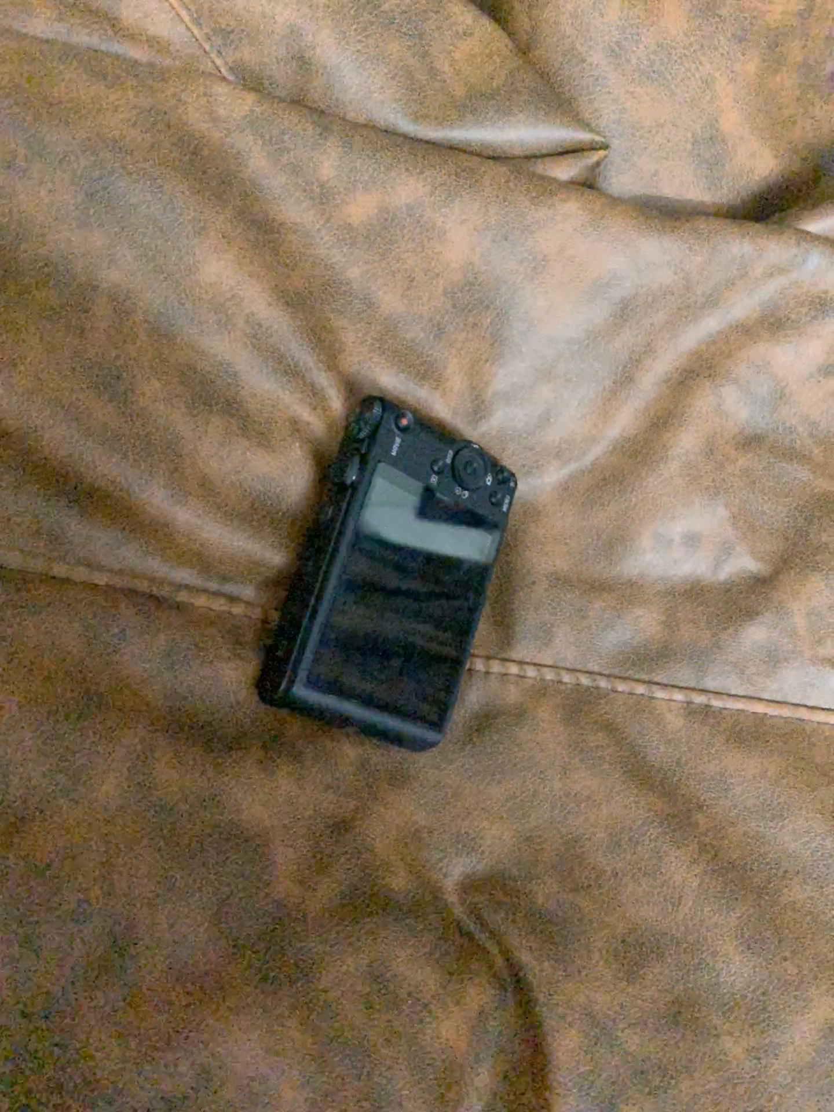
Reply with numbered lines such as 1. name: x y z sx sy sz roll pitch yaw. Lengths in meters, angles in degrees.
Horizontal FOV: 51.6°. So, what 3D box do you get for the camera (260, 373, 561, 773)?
1. camera: 0.001 0.006 0.257 0.060 0.024 0.100 23 74 -24
